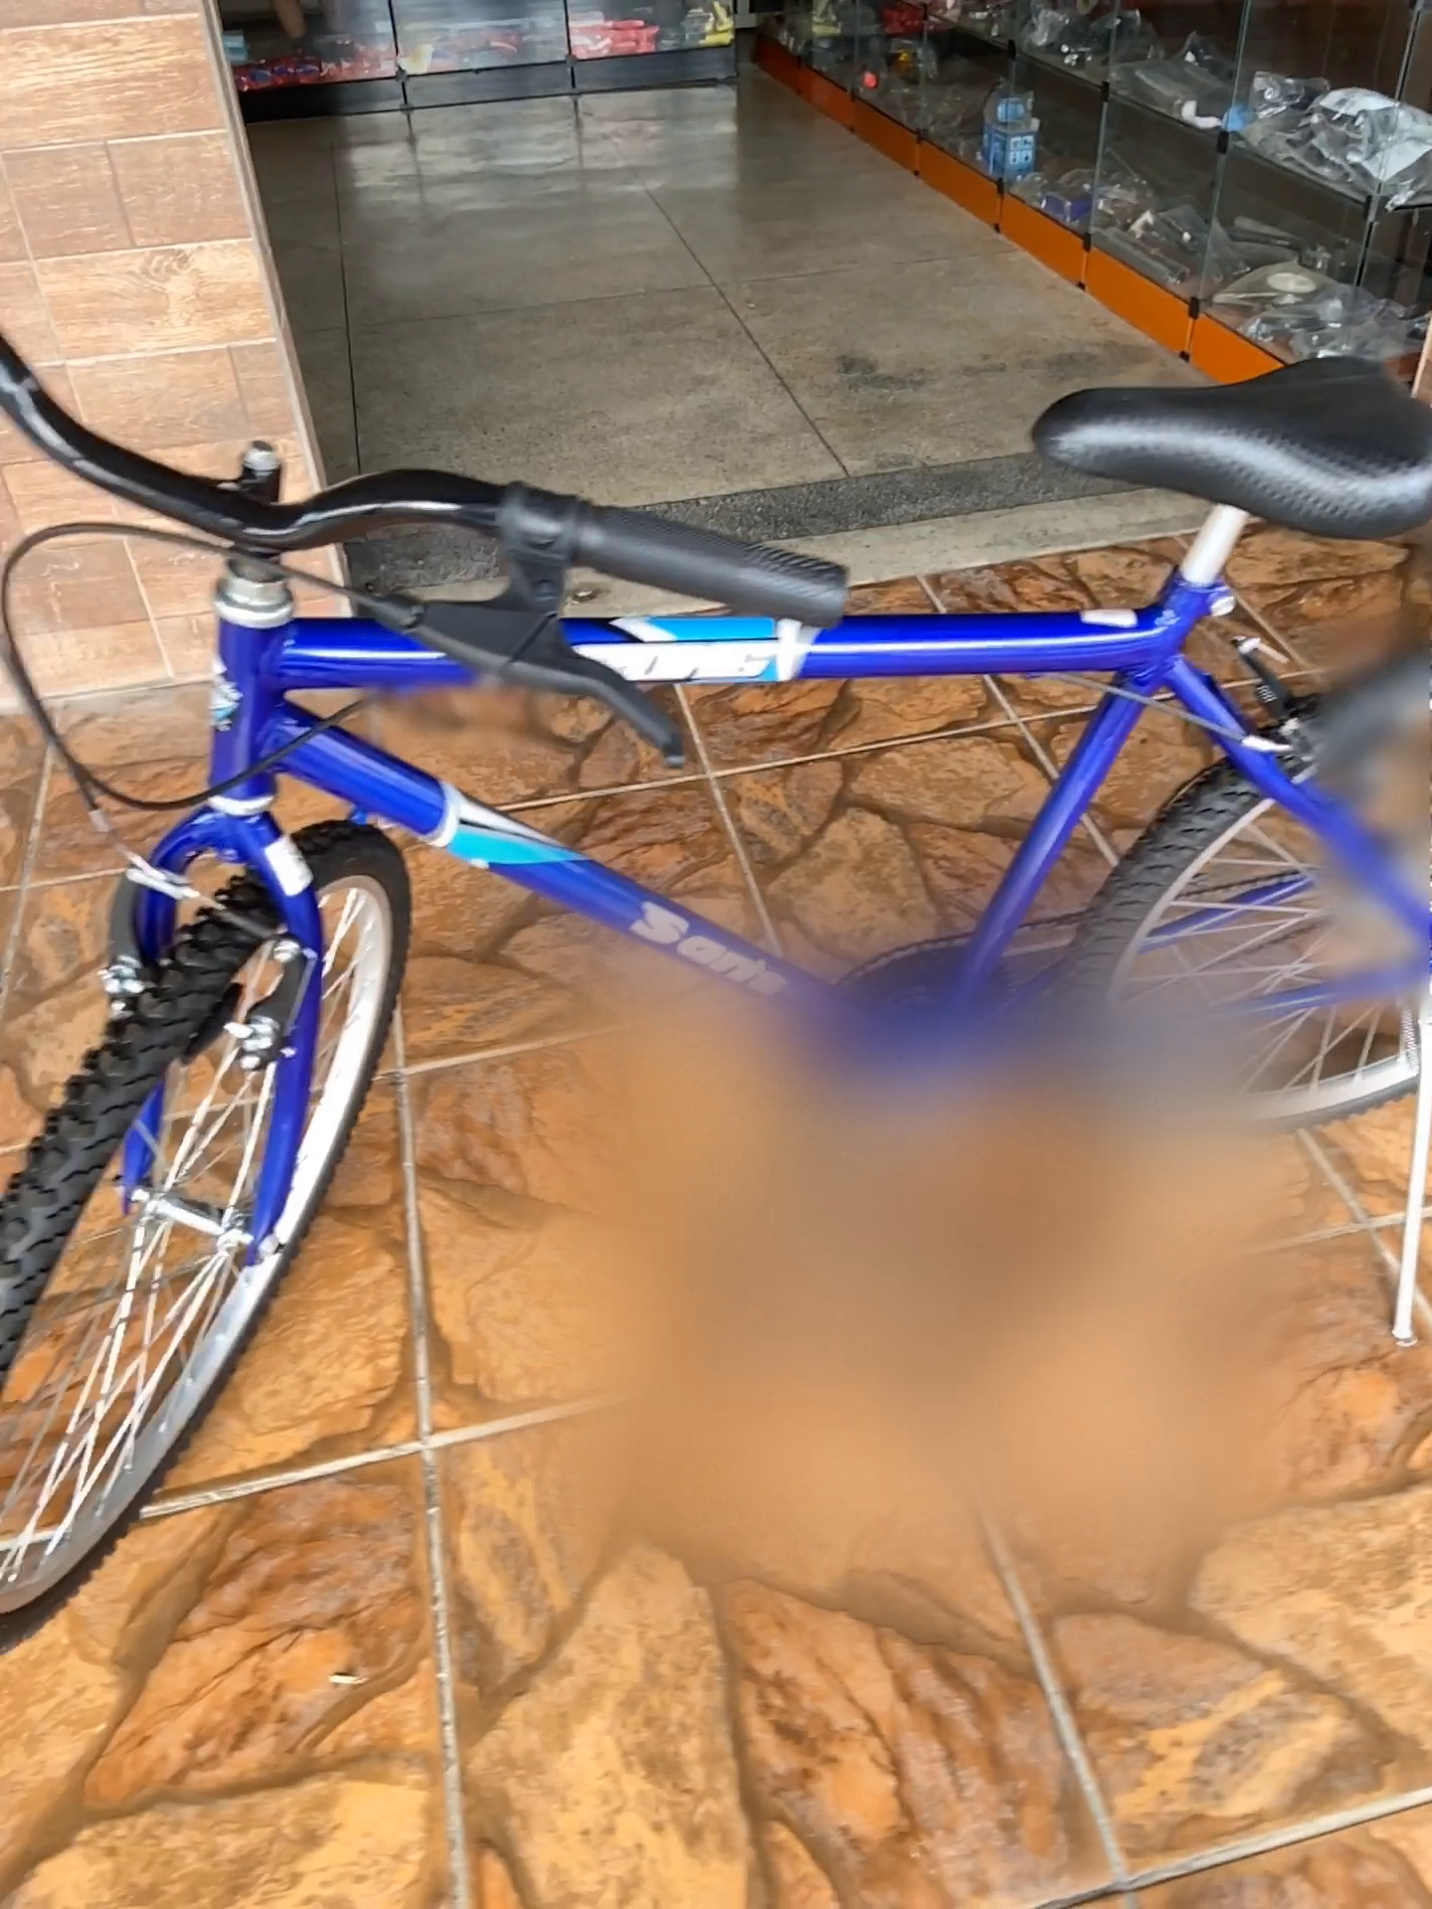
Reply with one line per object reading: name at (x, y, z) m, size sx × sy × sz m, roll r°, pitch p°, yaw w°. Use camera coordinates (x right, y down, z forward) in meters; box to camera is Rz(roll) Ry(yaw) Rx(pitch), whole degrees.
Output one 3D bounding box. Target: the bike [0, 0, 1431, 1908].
bike at (0.216, 0.079, 0.934) m, size 1.527 × 1.013 × 0.574 m, roll -21°, pitch 43°, yaw -15°
